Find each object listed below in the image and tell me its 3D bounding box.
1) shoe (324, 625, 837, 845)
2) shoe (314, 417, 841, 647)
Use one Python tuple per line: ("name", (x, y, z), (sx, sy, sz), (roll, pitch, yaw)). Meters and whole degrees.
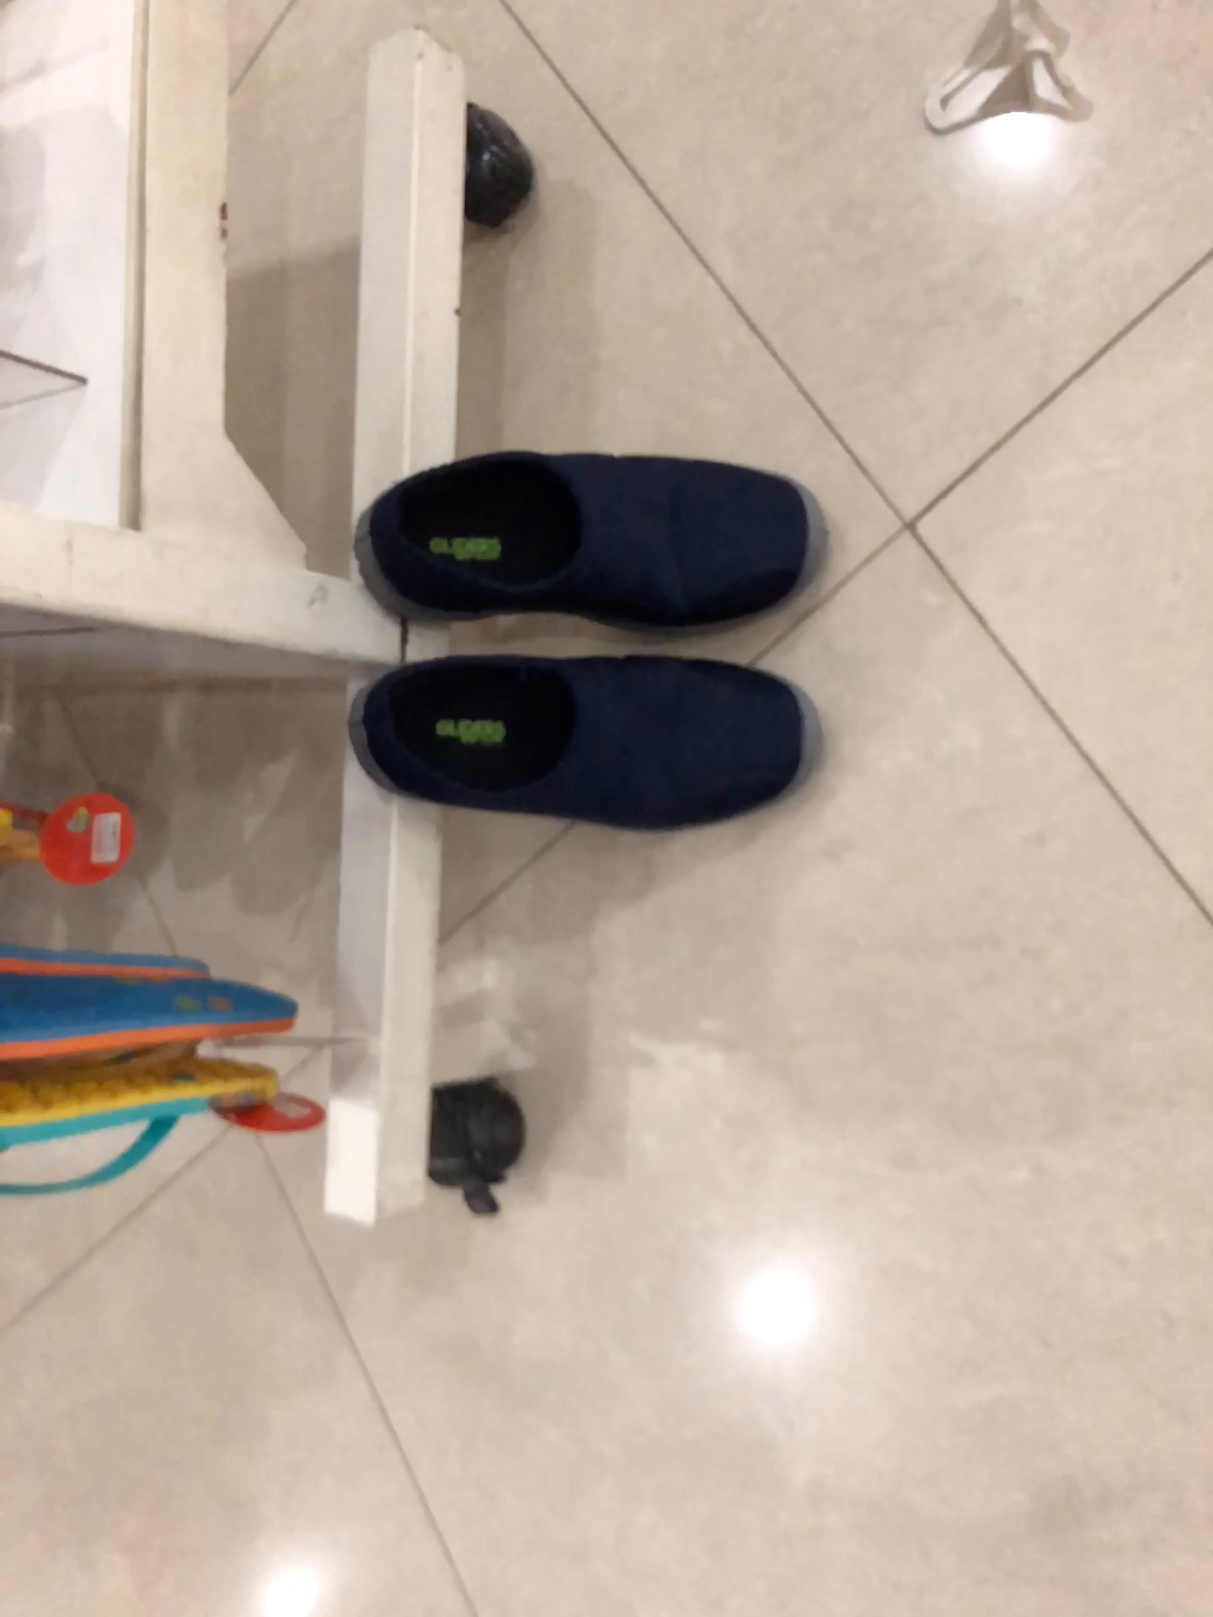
("shoe", (-0.018, -0.045, 0.797), (0.289, 0.064, 0.107), (5, 92, 16))
("shoe", (-0.019, -0.159, 0.789), (0.289, 0.083, 0.110), (5, 92, 19))
